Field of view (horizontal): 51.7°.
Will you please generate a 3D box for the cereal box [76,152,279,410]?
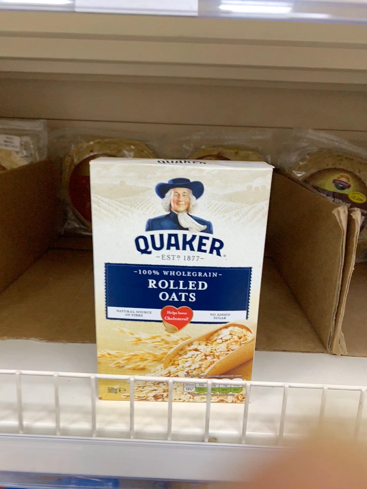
[{"bbox_3d":[-0.008,0.034,0.340,0.150,0.219,0.060,2,17,-1],"label":"cereal box"}]
